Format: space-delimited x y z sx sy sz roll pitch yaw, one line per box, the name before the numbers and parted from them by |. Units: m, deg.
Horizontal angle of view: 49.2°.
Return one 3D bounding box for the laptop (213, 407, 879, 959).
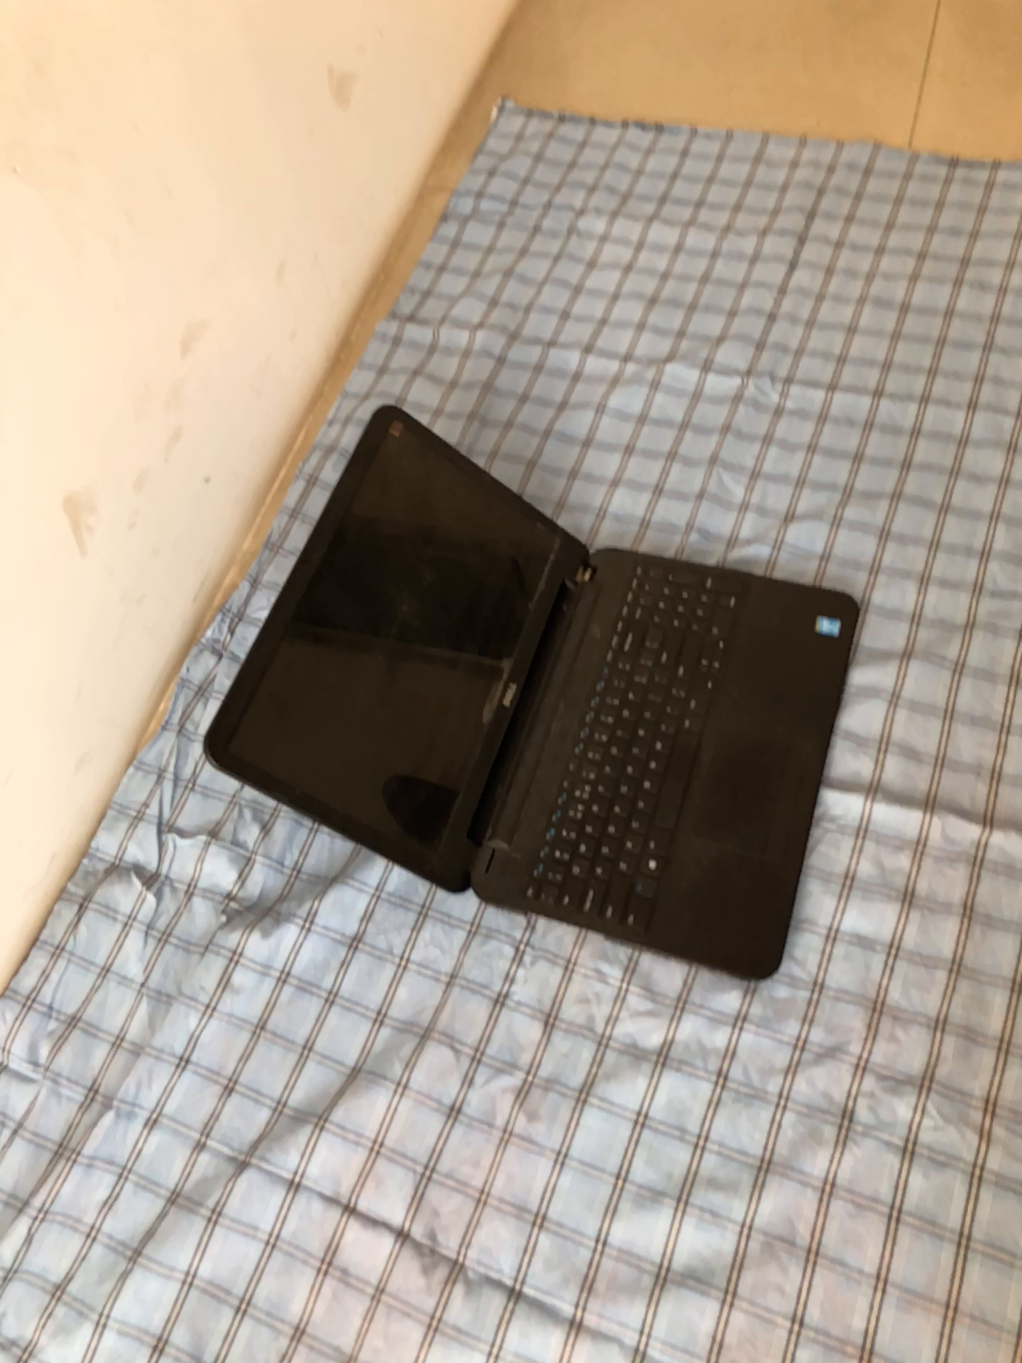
laptop | 0.044 -0.018 0.909 0.413 0.164 0.356 11 60 18
